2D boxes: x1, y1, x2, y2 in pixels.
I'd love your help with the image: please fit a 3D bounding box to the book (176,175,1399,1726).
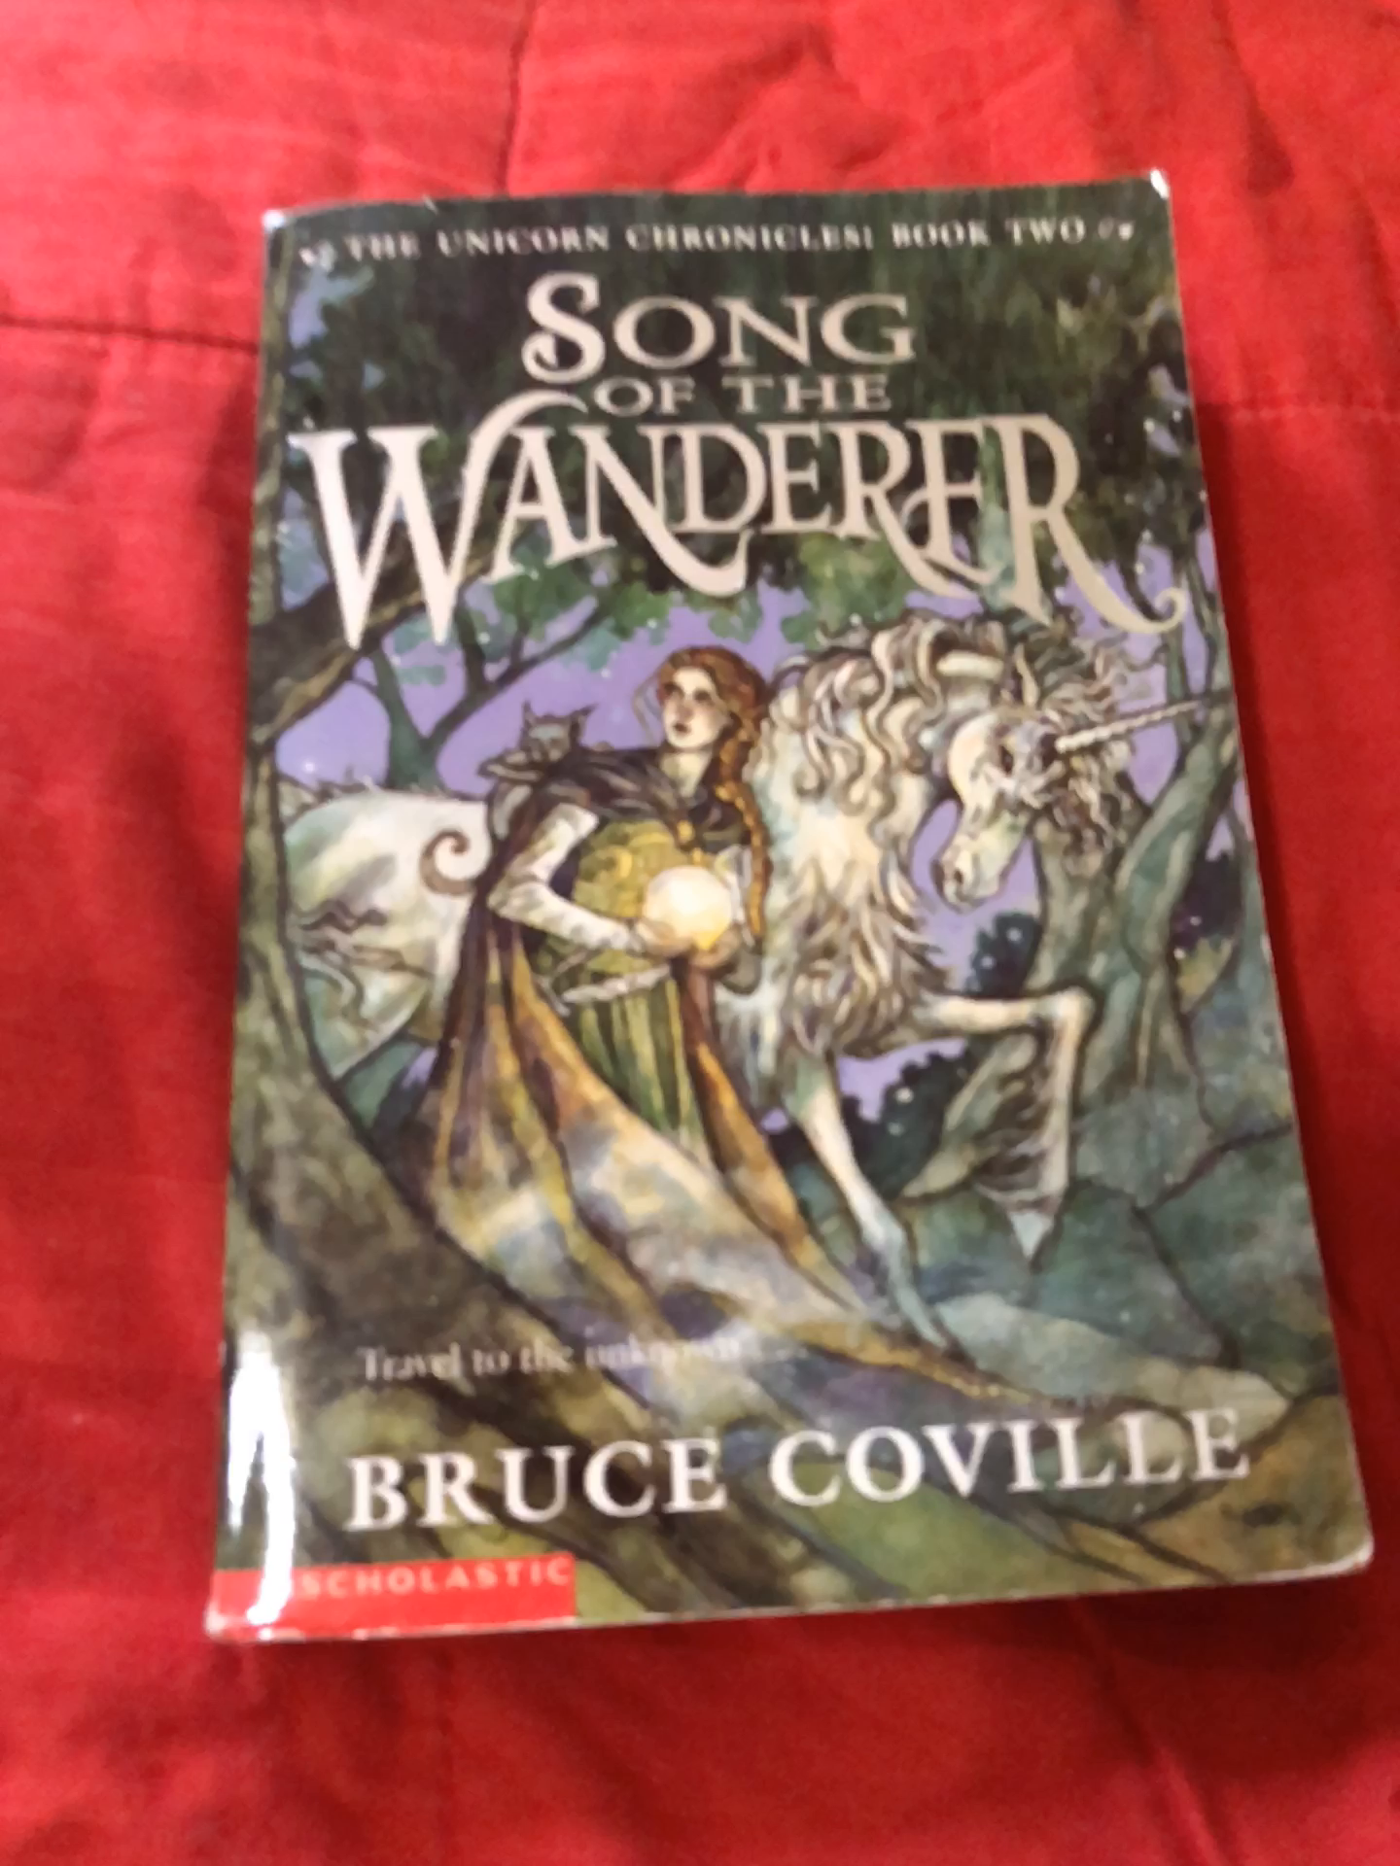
[{"bbox_3d":[0.006,-0.008,0.202,0.130,0.030,0.191,-2,74,-1],"label":"book"}]
